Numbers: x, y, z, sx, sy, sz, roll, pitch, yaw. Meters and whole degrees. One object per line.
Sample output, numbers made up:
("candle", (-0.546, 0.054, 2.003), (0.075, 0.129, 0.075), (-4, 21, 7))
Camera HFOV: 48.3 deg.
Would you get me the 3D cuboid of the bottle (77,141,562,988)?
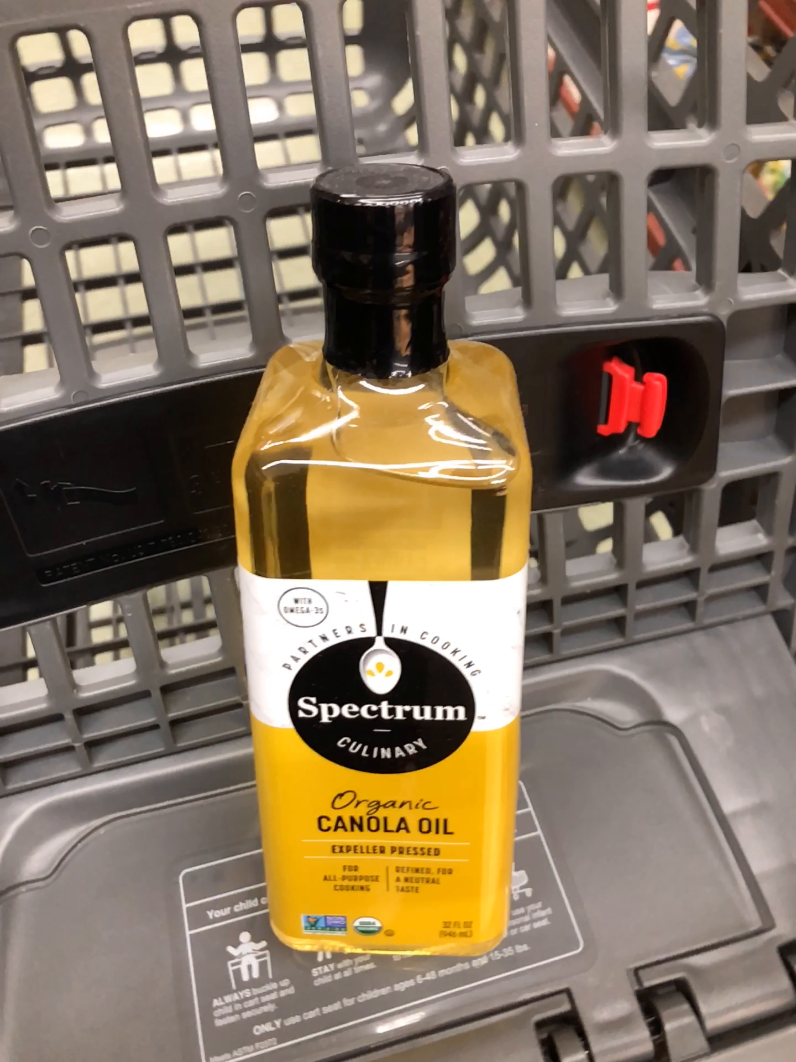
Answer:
("bottle", (-0.010, 0.025, 0.271), (0.090, 0.250, 0.090), (-1, 34, 1))
